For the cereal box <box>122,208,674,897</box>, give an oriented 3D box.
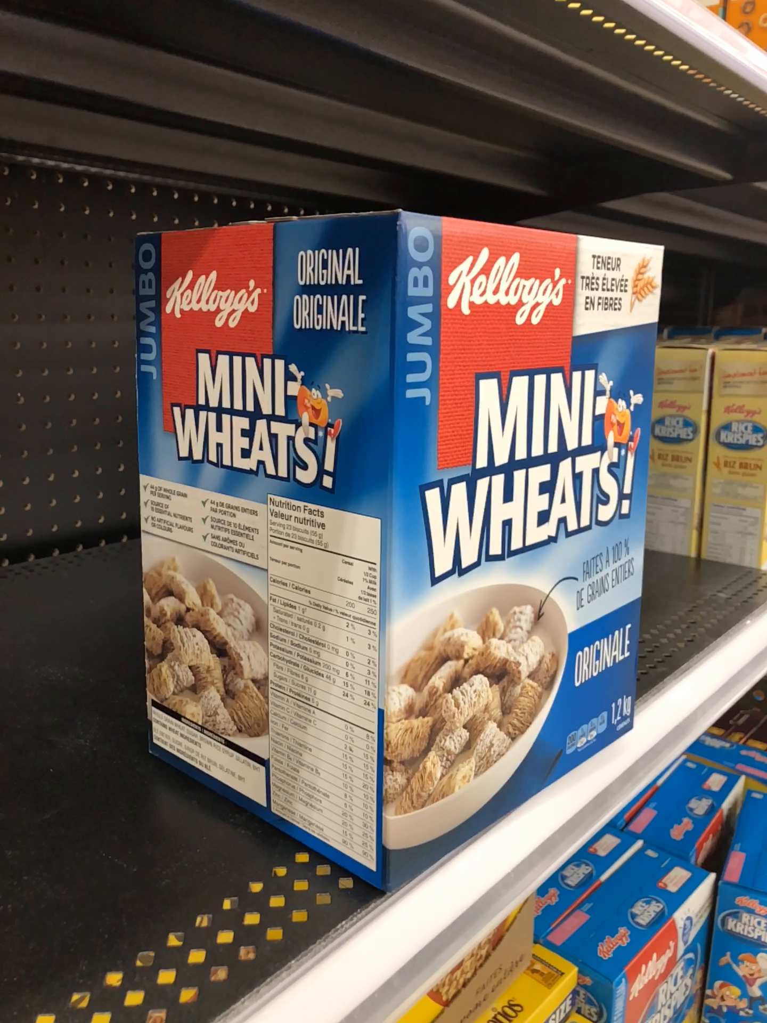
[{"bbox_3d":[0.010,-0.005,0.426,0.170,0.249,0.200,12,16,41],"label":"cereal box"}]
